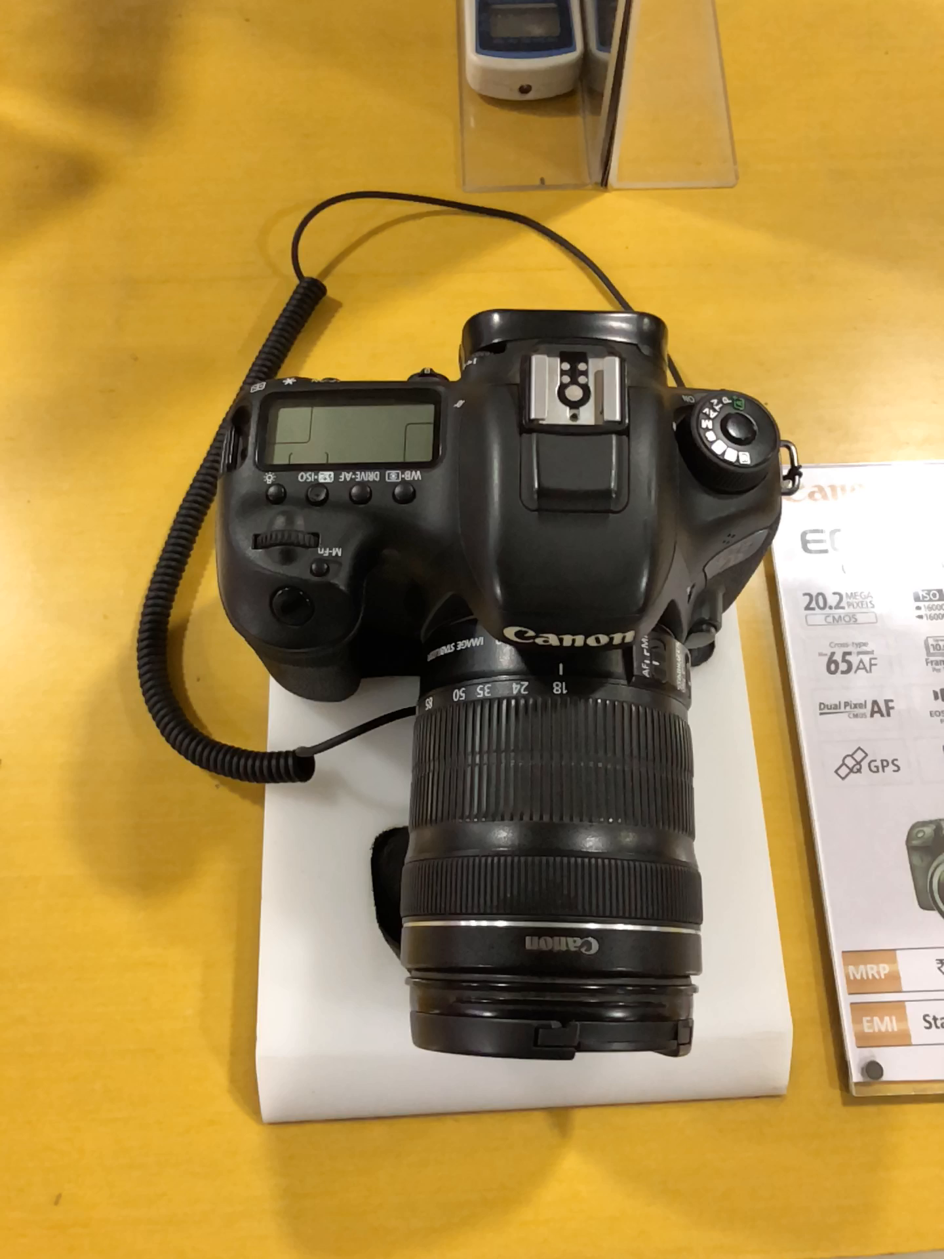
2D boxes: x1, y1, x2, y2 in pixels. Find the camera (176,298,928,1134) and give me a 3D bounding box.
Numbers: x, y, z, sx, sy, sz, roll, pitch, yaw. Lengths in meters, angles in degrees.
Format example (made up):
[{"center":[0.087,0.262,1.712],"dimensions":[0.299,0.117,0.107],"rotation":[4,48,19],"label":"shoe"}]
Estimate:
[{"center":[0.011,0.024,0.262],"dimensions":[0.130,0.110,0.170],"rotation":[-1,70,-1],"label":"camera"}]
